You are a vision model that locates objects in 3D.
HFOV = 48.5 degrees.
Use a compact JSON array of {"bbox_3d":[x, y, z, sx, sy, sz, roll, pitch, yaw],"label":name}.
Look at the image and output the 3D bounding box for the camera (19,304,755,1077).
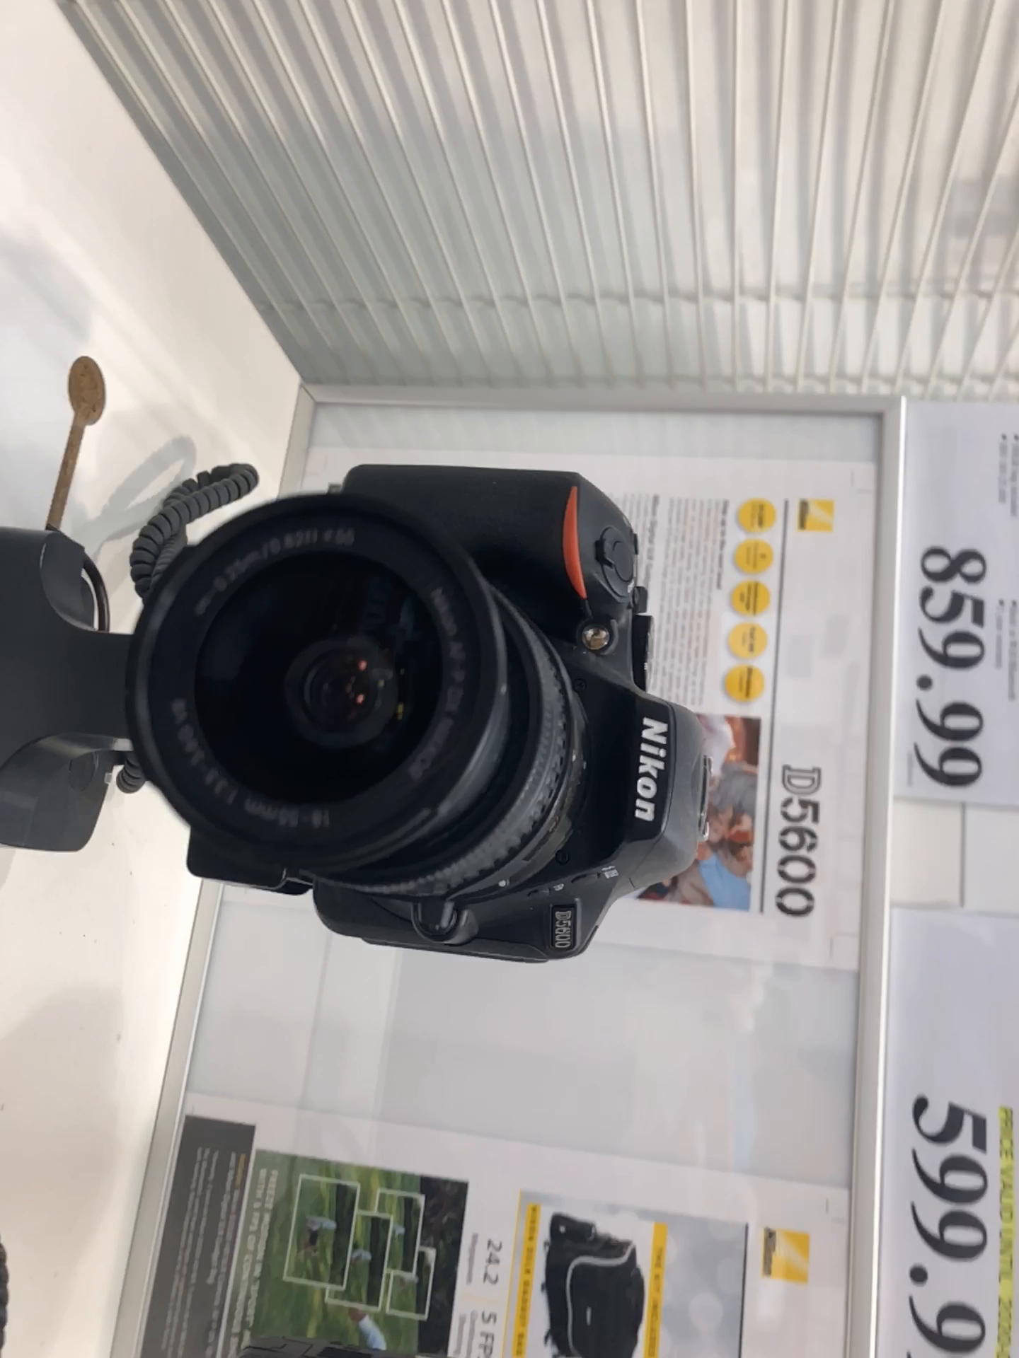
[{"bbox_3d":[-0.006,0.009,0.261,0.160,0.110,0.120,46,49,-76],"label":"camera"}]
